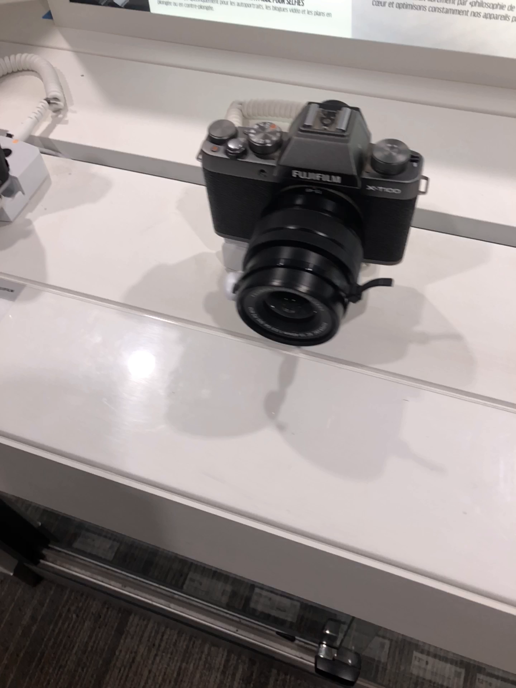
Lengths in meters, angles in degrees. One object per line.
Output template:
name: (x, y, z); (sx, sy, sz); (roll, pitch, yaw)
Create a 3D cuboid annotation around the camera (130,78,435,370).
camera: (0.019, -0.070, 0.330); (0.130, 0.099, 0.107); (13, 56, 13)
